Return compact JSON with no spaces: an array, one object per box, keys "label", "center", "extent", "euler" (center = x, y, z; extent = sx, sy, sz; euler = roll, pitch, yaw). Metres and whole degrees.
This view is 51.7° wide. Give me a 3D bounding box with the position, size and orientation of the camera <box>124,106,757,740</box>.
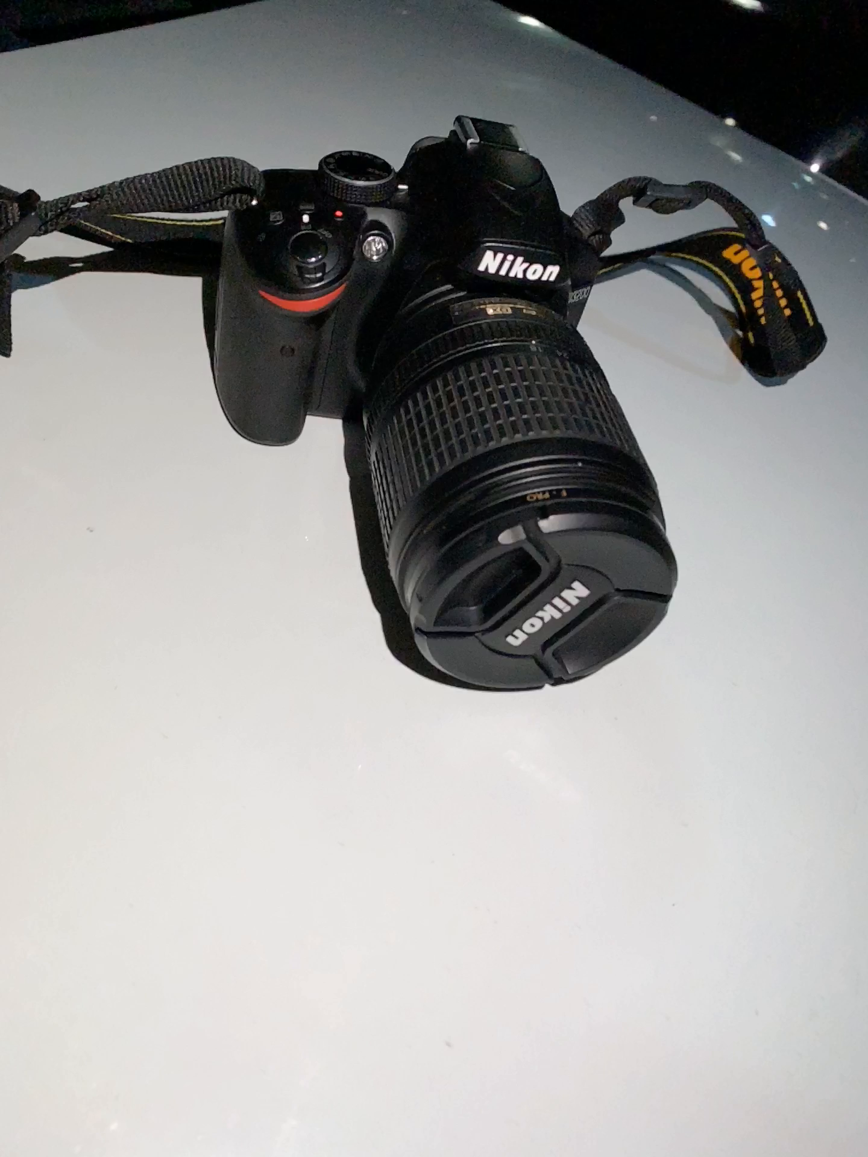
[{"label":"camera","center":[-0.011,-0.064,0.283],"extent":[0.126,0.099,0.202],"euler":[-2,42,-8]}]
